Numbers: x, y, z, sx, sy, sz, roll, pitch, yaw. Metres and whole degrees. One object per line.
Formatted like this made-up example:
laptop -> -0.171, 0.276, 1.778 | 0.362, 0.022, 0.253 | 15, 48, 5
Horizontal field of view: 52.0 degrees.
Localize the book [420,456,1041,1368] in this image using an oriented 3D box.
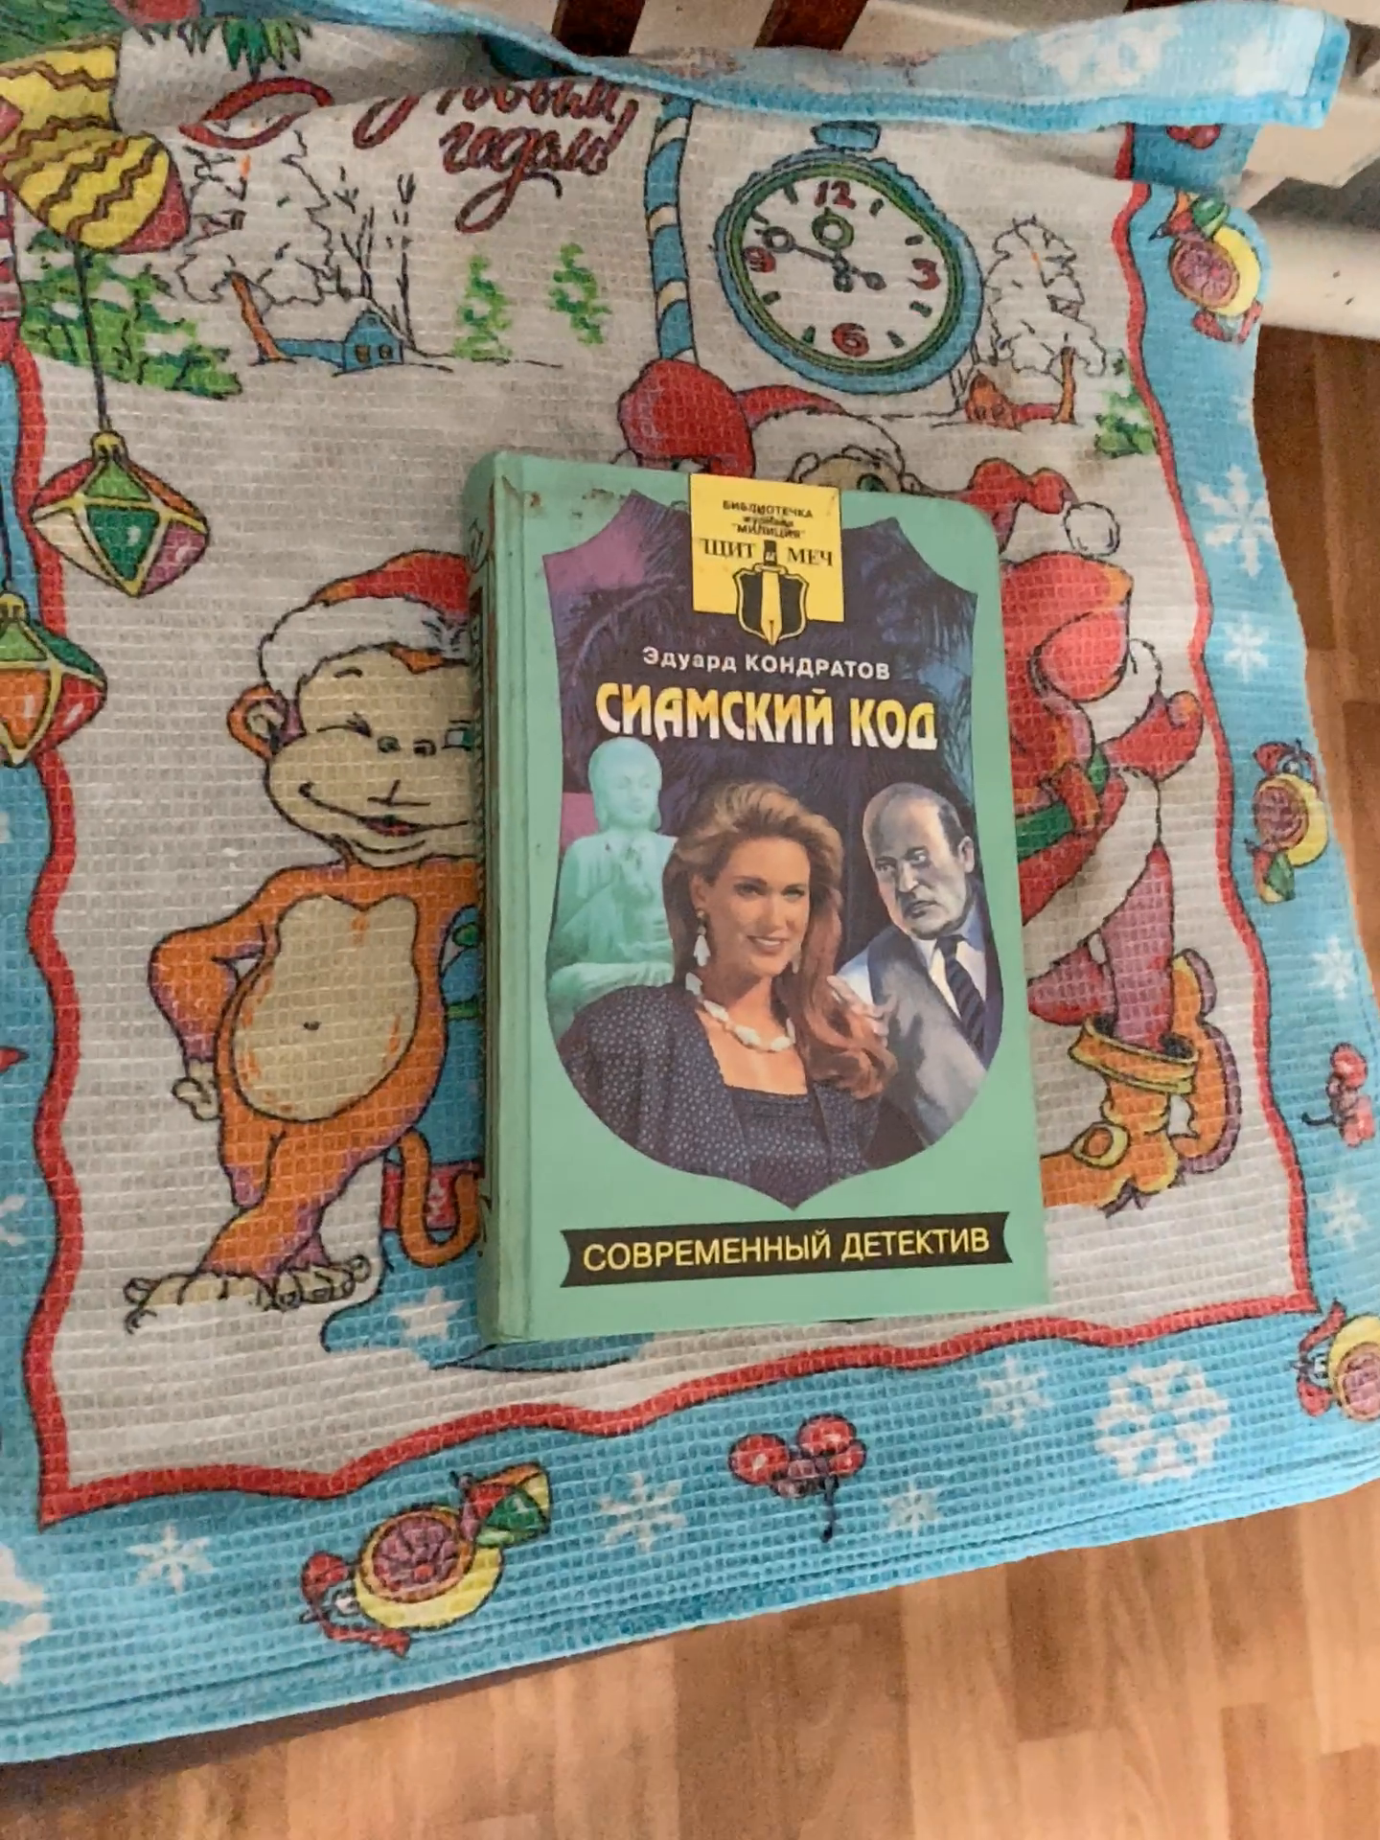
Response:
book -> 0.008, -0.004, 0.336 | 0.140, 0.023, 0.200 | 0, 81, -15
